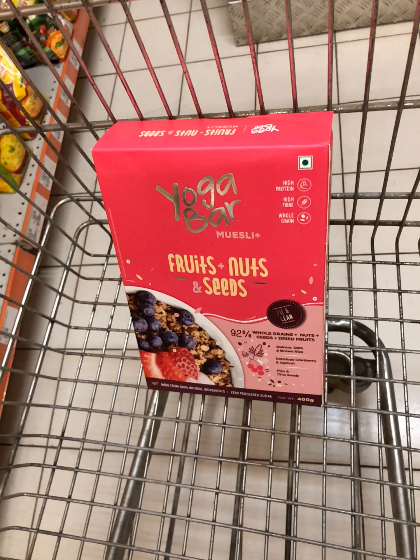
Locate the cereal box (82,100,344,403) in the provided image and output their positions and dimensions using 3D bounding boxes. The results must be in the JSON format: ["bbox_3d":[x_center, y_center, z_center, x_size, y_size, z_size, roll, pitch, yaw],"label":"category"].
[{"bbox_3d":[0.016,-0.012,0.384,0.170,0.239,0.060,3,36,15],"label":"cereal box"}]
